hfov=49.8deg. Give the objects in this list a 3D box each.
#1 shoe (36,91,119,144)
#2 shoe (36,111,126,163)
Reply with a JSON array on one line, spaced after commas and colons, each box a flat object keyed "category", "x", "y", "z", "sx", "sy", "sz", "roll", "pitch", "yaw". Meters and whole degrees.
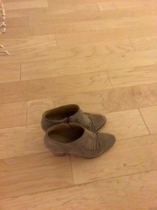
[{"category": "shoe", "x": -0.005, "y": 0.045, "z": 0.633, "sx": 0.270, "sy": 0.119, "sz": 0.101, "roll": -10, "pitch": 54, "yaw": -7}, {"category": "shoe", "x": 0.006, "y": 0.113, "z": 0.591, "sx": 0.270, "sy": 0.129, "sz": 0.111, "roll": -4, "pitch": 54, "yaw": -3}]
